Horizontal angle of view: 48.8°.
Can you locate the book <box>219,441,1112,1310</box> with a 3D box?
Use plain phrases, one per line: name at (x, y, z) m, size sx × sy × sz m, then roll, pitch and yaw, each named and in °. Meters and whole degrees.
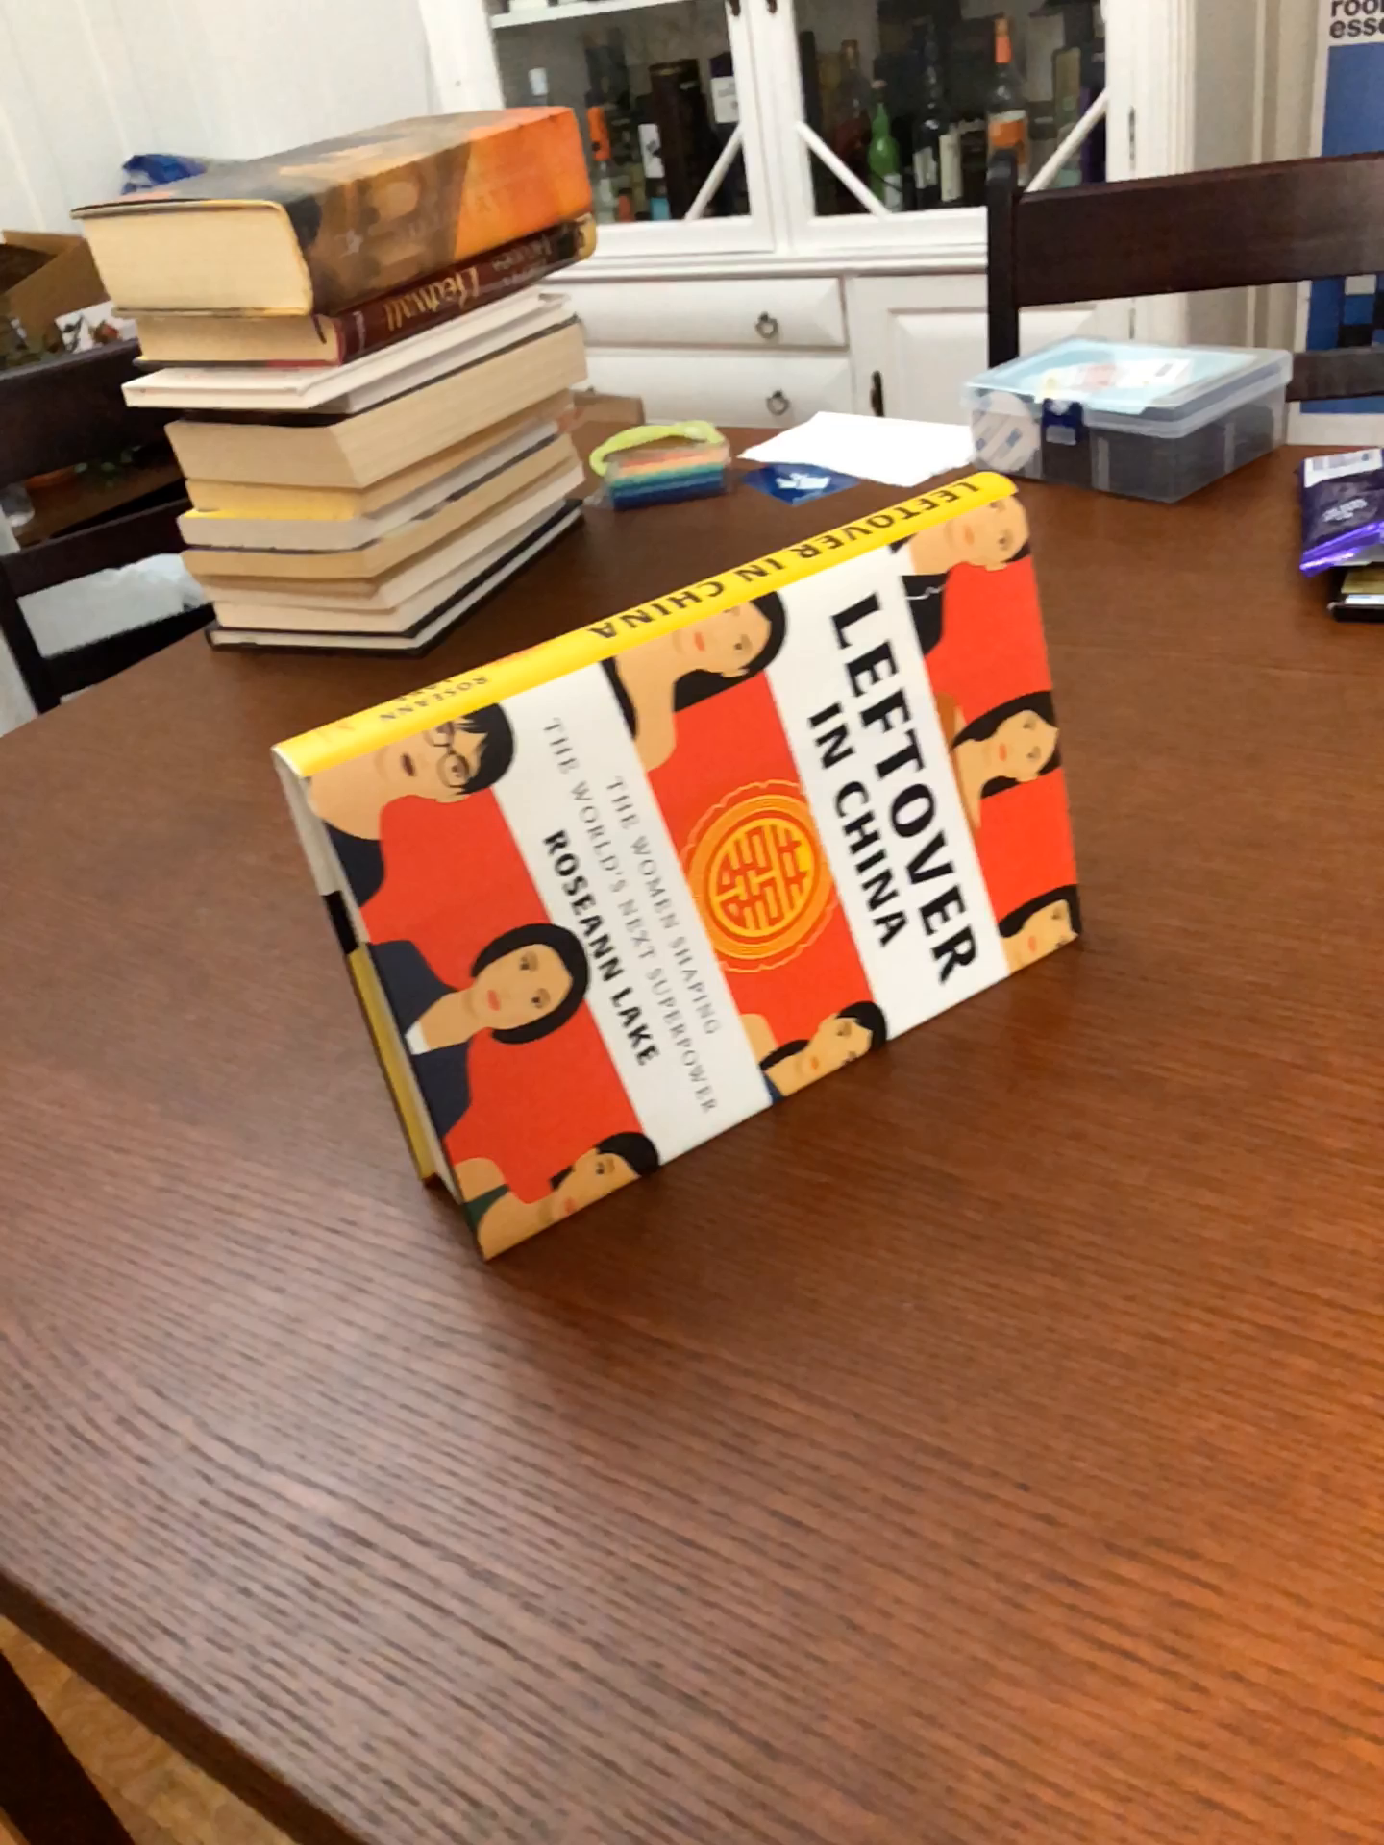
book at (0.012, -0.021, 0.481) m, size 0.260 × 0.179 × 0.060 m, roll -25°, pitch 35°, yaw -21°
